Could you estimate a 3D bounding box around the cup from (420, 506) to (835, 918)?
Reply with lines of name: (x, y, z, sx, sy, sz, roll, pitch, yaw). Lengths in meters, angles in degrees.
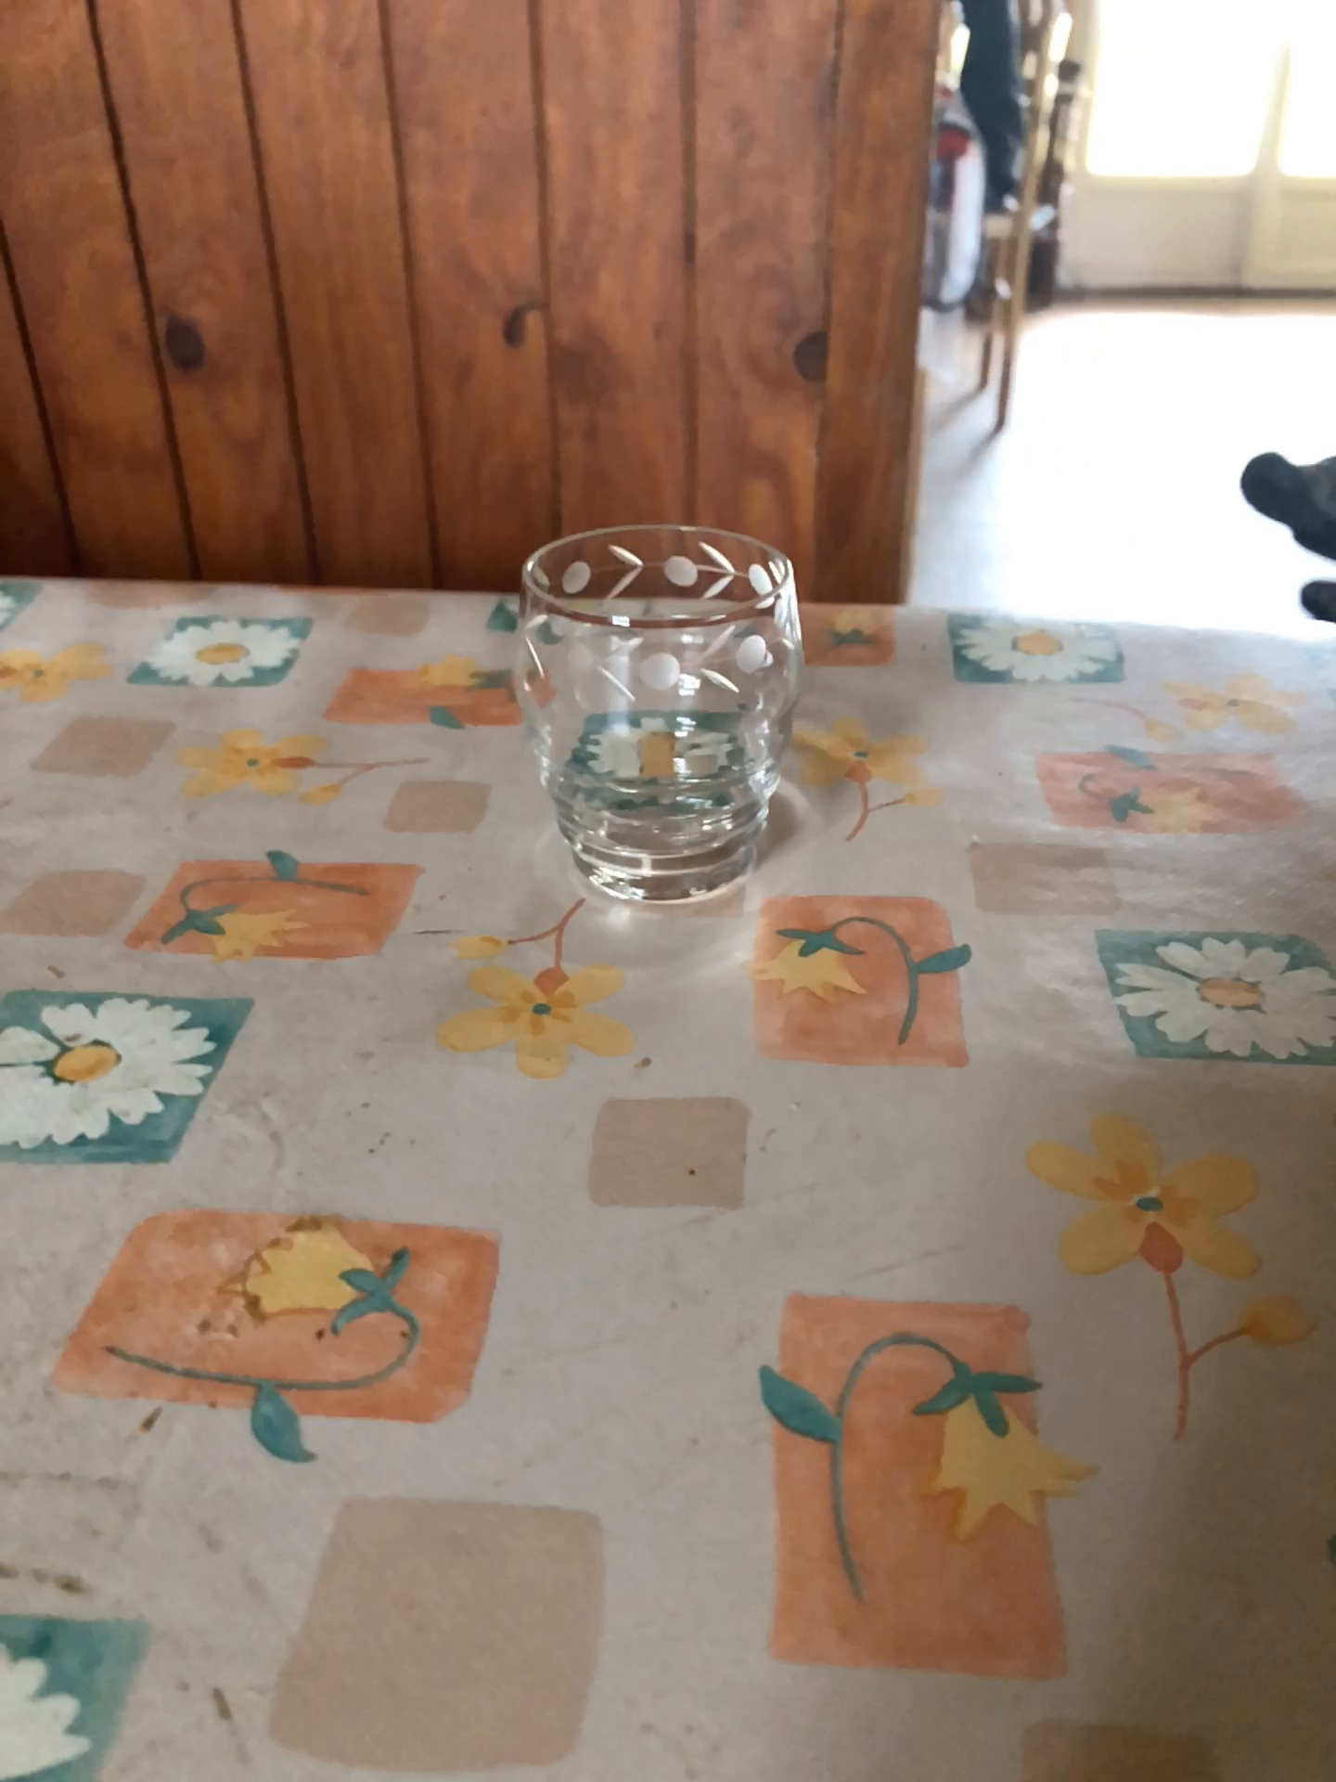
cup: (-0.004, -0.035, 0.271, 0.060, 0.050, 0.060, 0, 31, 0)
